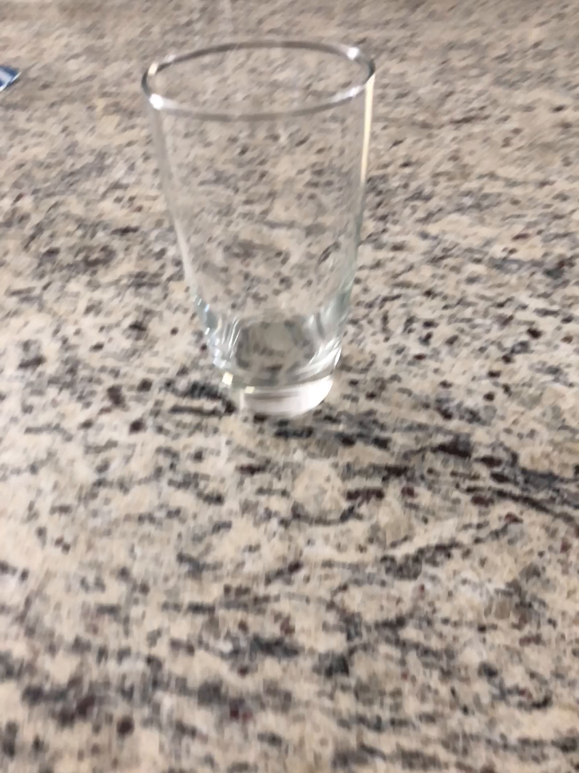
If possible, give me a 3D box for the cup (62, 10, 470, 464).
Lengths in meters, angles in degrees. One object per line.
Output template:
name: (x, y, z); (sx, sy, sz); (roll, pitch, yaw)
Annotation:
cup: (-0.007, -0.065, 0.265); (0.101, 0.129, 0.100); (-2, 42, 1)
